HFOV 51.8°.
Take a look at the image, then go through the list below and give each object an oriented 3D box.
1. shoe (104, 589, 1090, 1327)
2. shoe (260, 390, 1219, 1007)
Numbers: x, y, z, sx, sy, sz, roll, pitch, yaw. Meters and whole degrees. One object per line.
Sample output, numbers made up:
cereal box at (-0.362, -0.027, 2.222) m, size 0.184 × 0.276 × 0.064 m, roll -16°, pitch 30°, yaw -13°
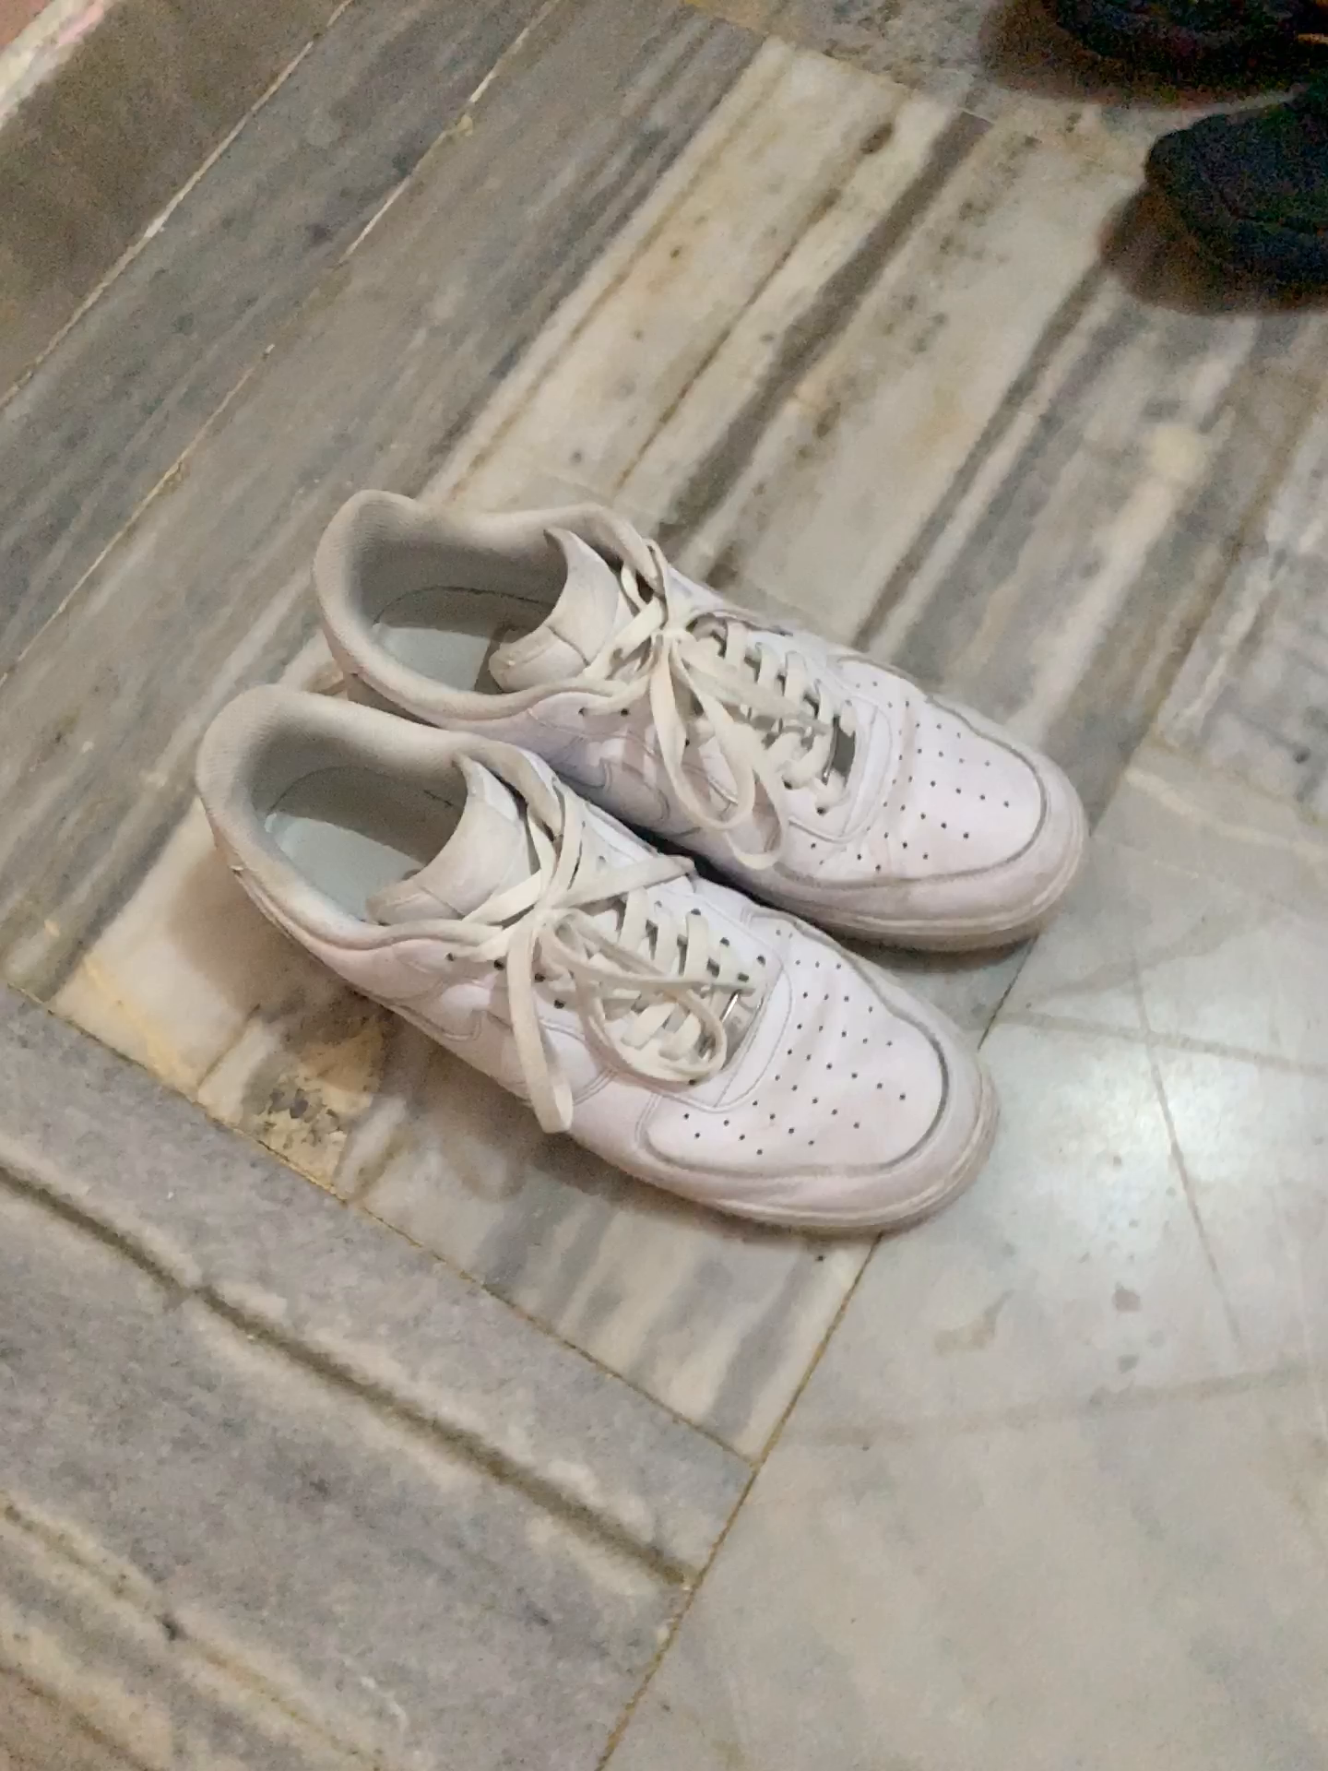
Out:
shoe at (-0.026, 0.029, 0.502) m, size 0.310 × 0.120 × 0.110 m, roll 28°, pitch 74°, yaw 12°
shoe at (0.026, -0.069, 0.526) m, size 0.310 × 0.120 × 0.110 m, roll 18°, pitch 72°, yaw 10°
